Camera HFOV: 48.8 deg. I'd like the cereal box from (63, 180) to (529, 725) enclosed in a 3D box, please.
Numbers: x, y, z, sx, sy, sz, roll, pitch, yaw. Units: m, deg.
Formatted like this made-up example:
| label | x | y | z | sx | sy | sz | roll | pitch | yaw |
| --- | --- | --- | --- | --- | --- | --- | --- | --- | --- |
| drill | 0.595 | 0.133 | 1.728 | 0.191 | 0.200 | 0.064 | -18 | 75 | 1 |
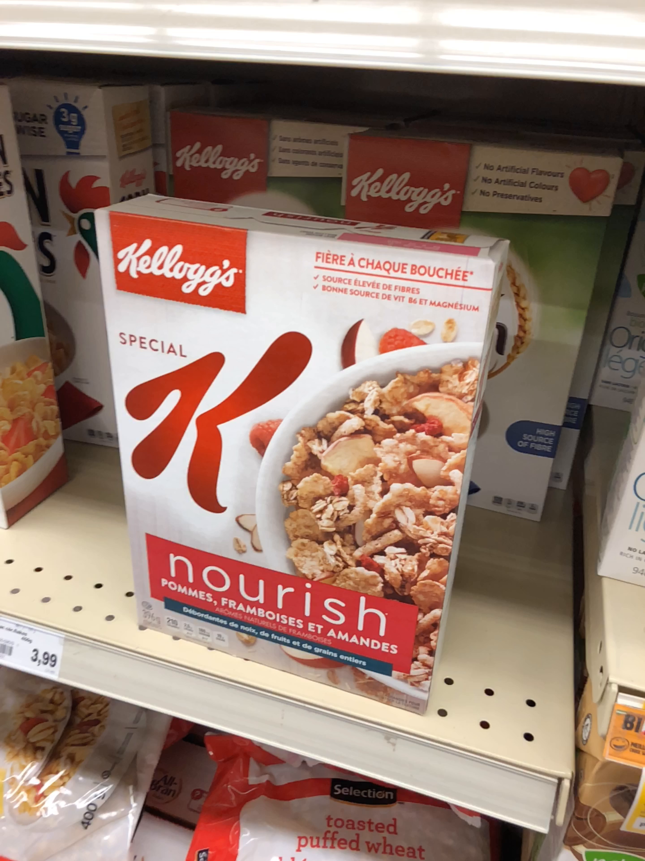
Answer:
| label | x | y | z | sx | sy | sz | roll | pitch | yaw |
| --- | --- | --- | --- | --- | --- | --- | --- | --- | --- |
| cereal box | -0.019 | 0.012 | 0.373 | 0.200 | 0.248 | 0.060 | 12 | 29 | 17 |
